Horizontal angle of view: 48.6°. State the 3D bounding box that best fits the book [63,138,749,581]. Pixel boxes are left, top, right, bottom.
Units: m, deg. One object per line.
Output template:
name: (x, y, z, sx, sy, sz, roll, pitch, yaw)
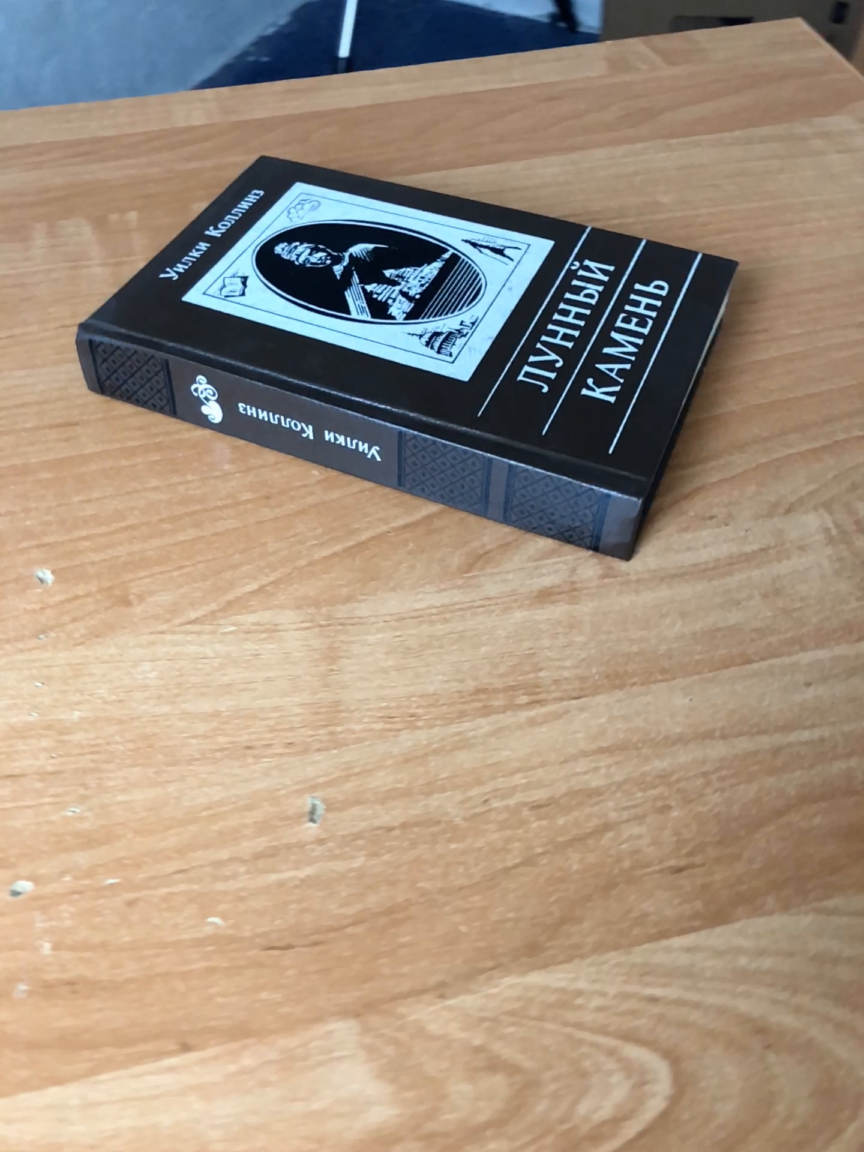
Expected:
book: (-0.004, -0.088, 0.341, 0.199, 0.032, 0.134, 18, 55, 13)
